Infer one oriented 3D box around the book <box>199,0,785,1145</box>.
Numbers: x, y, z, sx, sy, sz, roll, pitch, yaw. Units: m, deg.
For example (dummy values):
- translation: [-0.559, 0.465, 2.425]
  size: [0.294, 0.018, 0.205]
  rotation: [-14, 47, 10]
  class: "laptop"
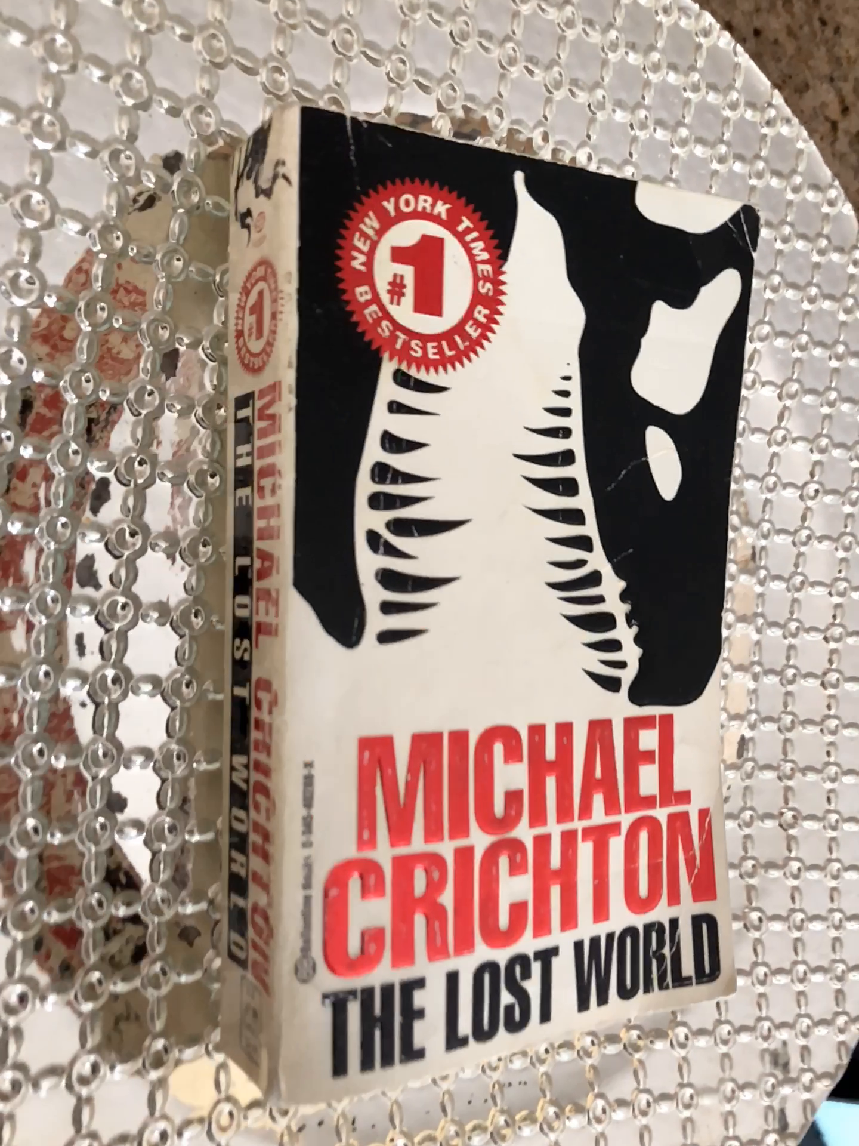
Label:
- translation: [0.018, 0.001, 0.198]
  size: [0.119, 0.040, 0.182]
  rotation: [2, 88, -32]
  class: "book"
